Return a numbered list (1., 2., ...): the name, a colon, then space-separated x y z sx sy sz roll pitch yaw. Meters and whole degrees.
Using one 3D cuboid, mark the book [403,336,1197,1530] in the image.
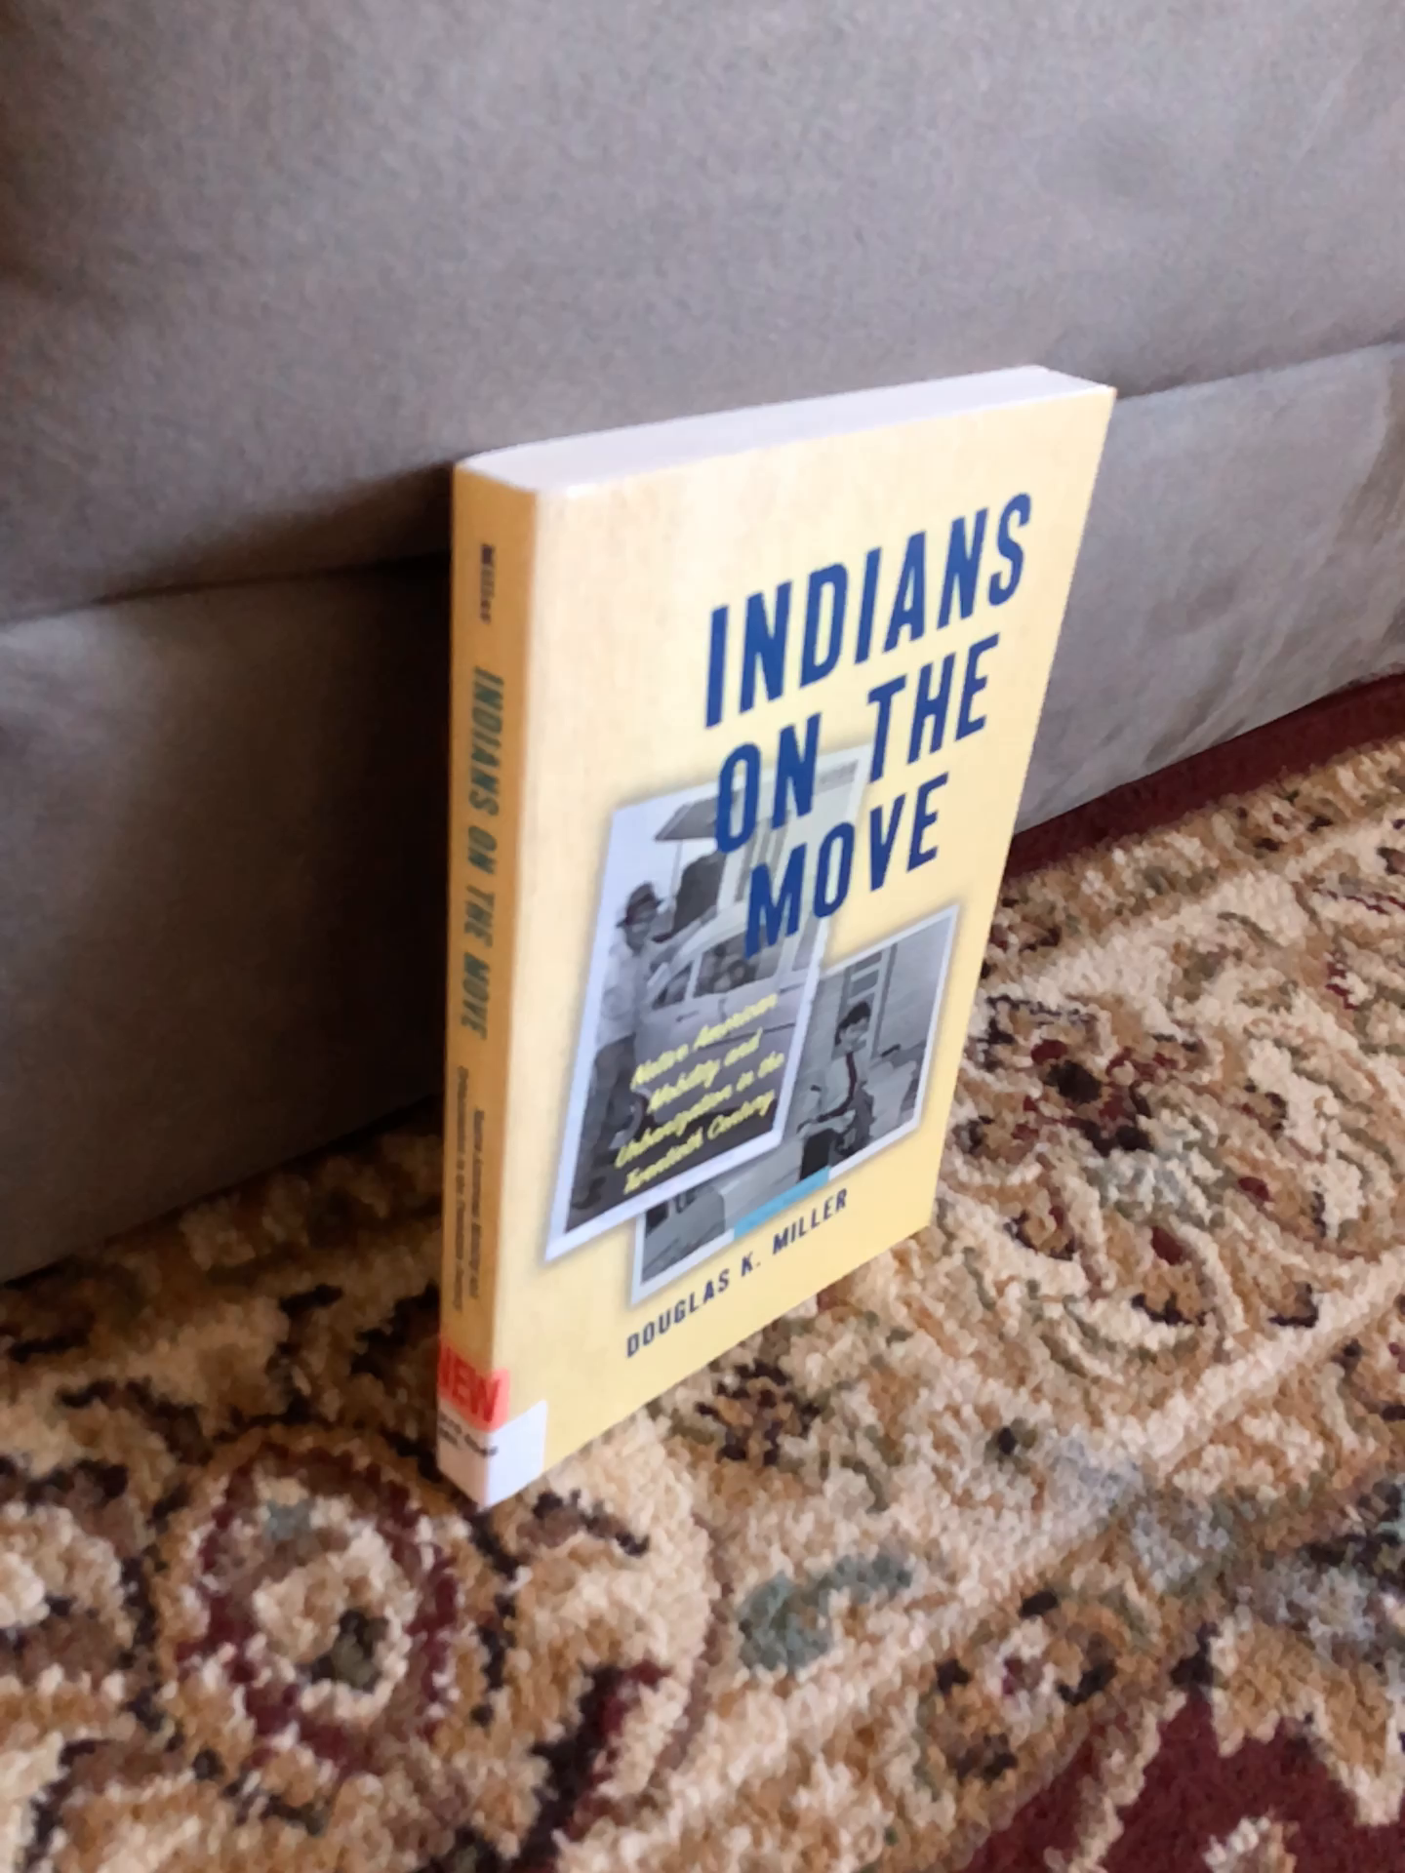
1. book: 0.015 0.003 0.327 0.160 0.229 0.030 -23 45 -36
